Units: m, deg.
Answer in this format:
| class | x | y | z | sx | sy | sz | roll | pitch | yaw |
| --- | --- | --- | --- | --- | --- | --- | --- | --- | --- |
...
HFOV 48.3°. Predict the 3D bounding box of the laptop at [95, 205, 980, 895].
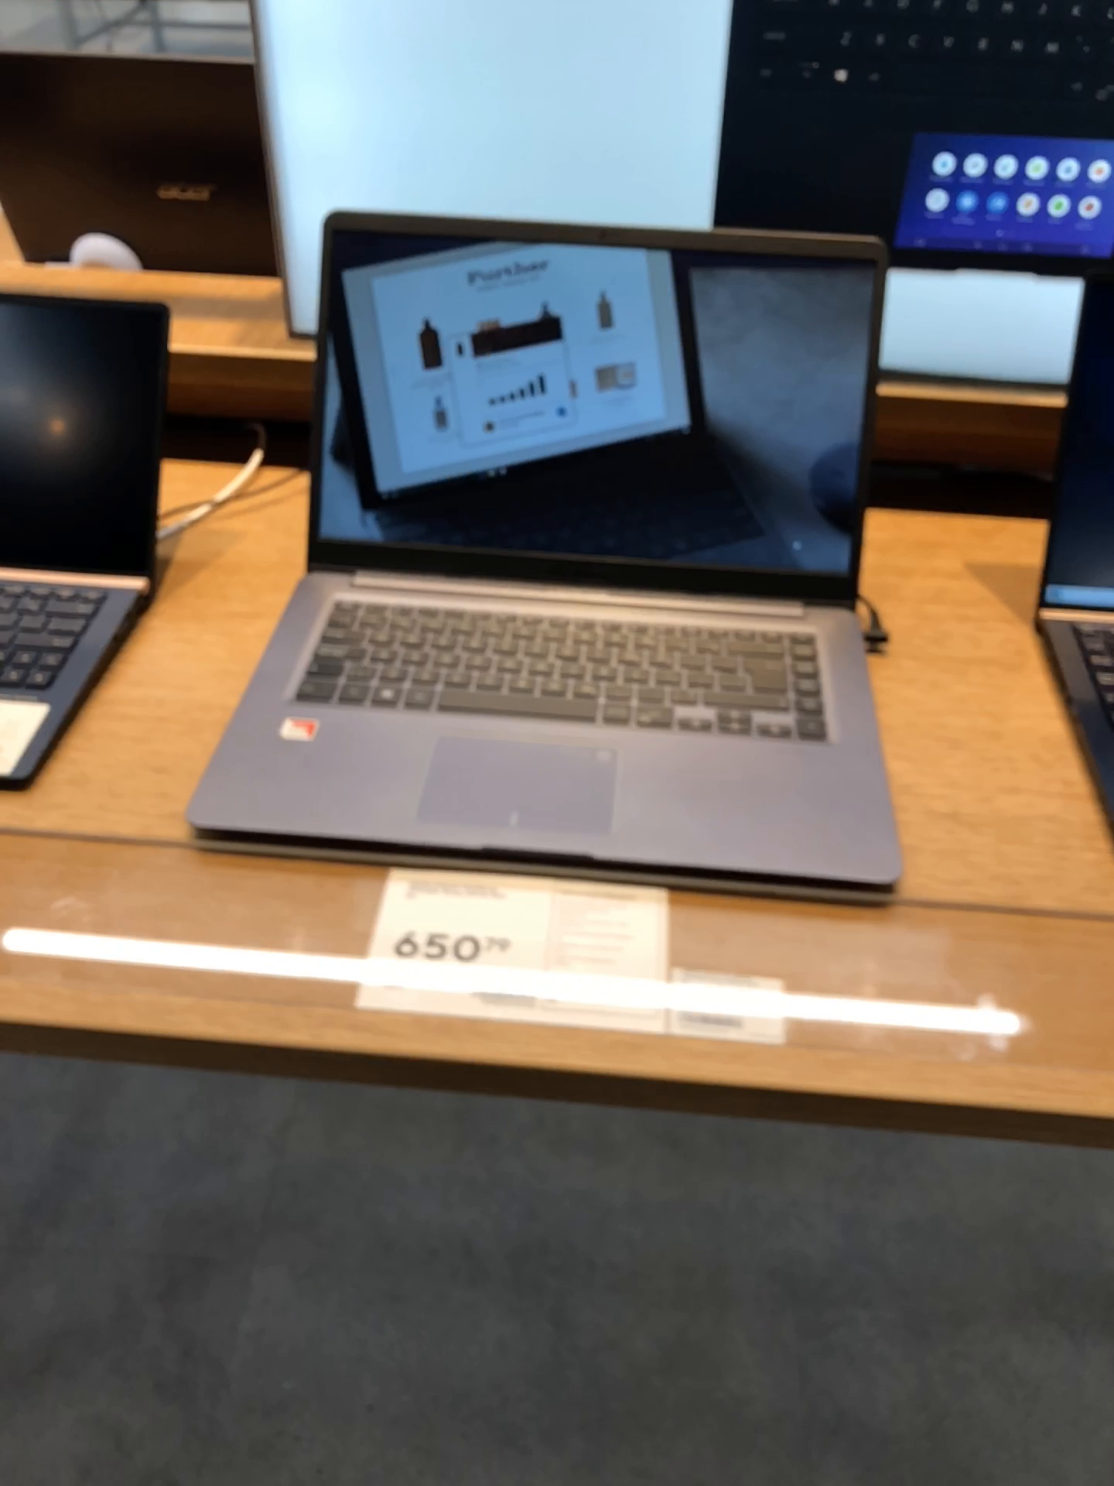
| class | x | y | z | sx | sy | sz | roll | pitch | yaw |
| --- | --- | --- | --- | --- | --- | --- | --- | --- | --- |
| laptop | 0.003 | -0.136 | 0.697 | 0.352 | 0.177 | 0.392 | 4 | 40 | 3 |
